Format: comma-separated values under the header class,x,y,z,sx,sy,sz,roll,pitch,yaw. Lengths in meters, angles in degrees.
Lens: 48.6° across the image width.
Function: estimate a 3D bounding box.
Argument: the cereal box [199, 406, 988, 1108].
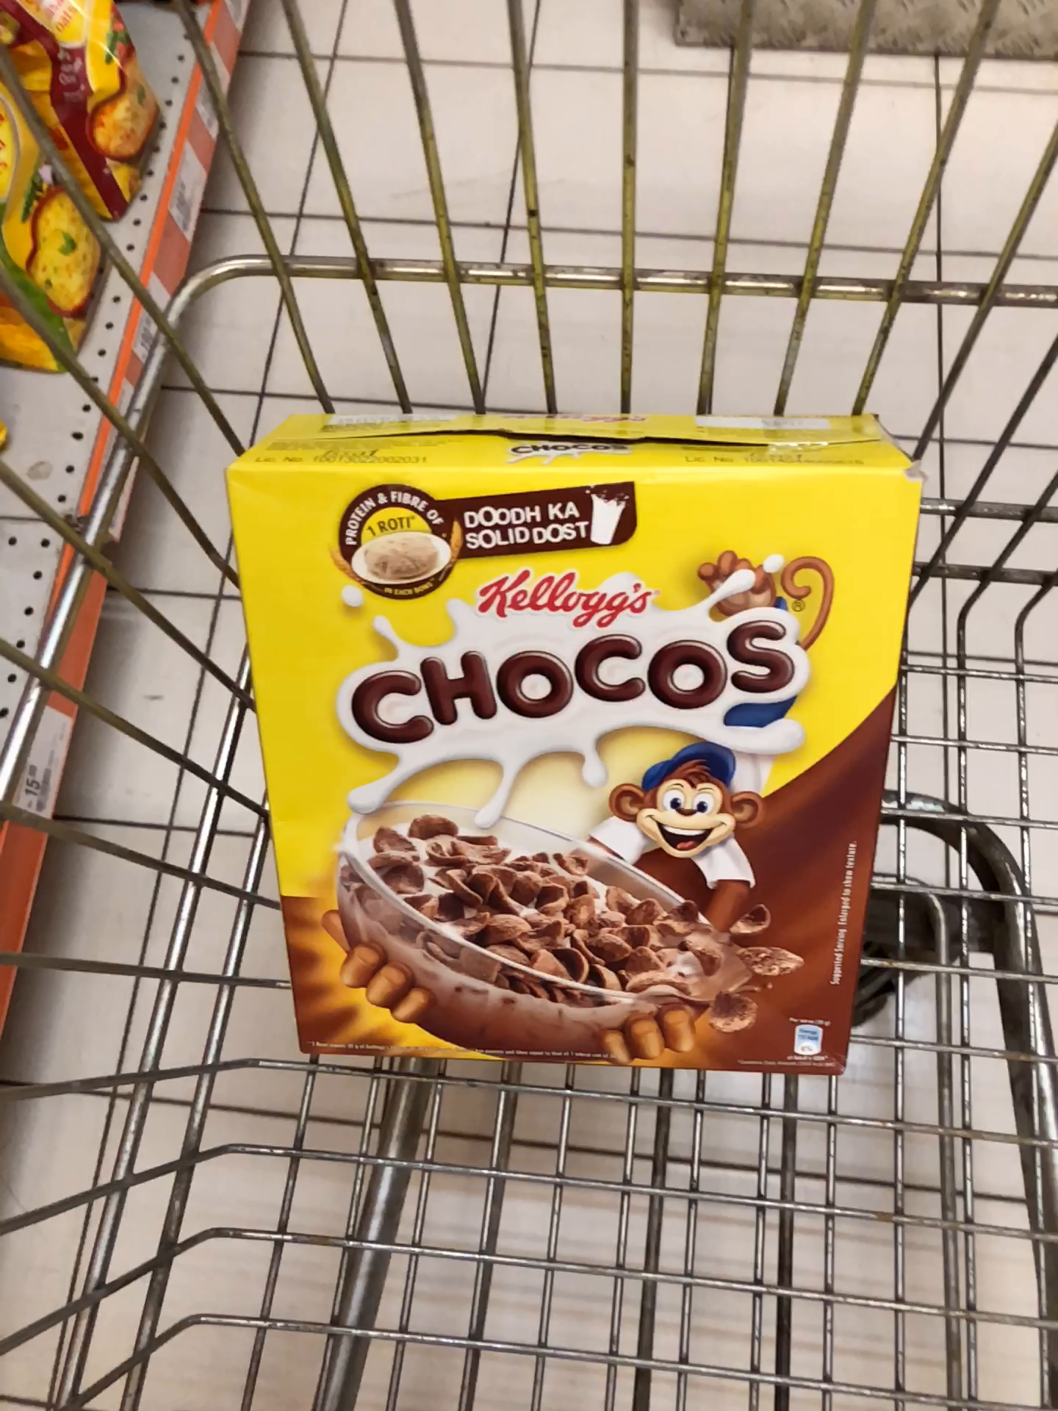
class,x,y,z,sx,sy,sz,roll,pitch,yaw
cereal box,0.017,0.017,0.357,0.190,0.070,0.199,1,115,3
